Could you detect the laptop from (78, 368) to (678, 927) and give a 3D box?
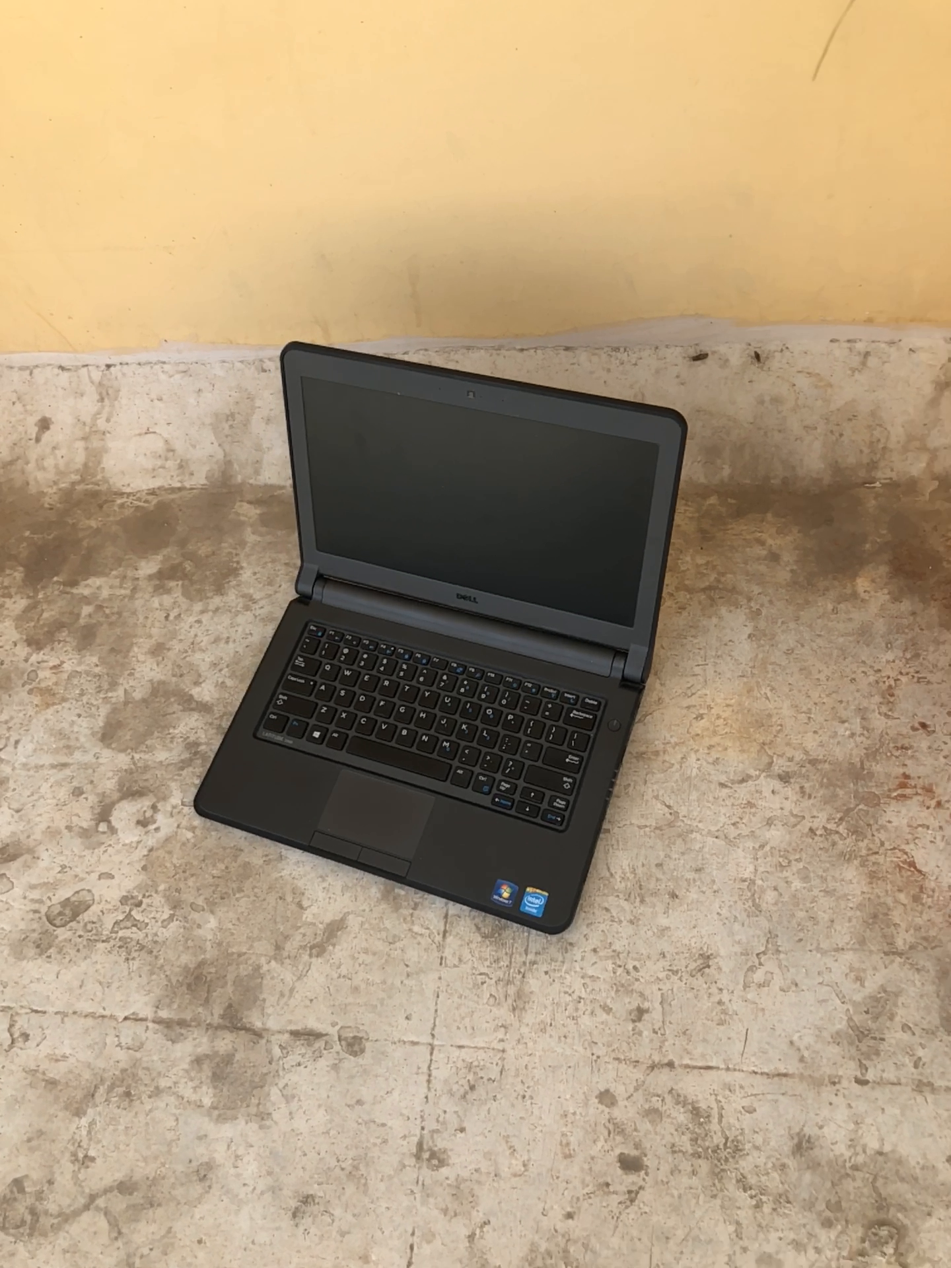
[{"bbox_3d":[-0.044,0.002,0.780,0.309,0.208,0.299,14,61,18],"label":"laptop"}]
